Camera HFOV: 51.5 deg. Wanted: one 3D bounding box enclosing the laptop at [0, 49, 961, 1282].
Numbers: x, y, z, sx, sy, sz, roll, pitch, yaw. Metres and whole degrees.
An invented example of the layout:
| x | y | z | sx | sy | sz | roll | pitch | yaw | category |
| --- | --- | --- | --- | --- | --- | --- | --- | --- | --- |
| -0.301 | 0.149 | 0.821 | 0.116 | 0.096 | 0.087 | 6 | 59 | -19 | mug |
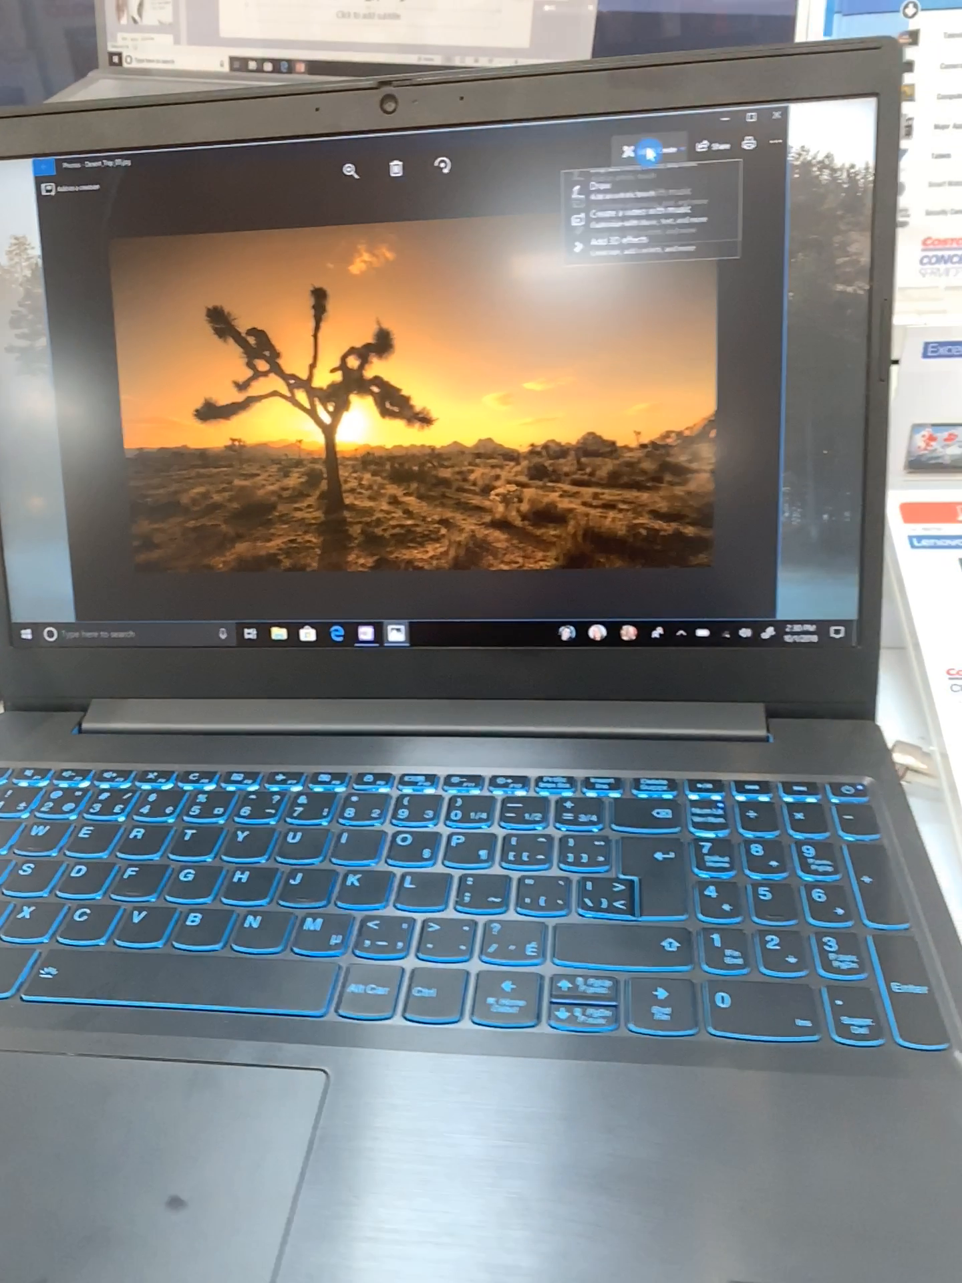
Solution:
| x | y | z | sx | sy | sz | roll | pitch | yaw | category |
| --- | --- | --- | --- | --- | --- | --- | --- | --- | --- |
| -0.033 | -0.024 | 0.275 | 0.340 | 0.214 | 0.330 | 0 | 32 | 7 | laptop |
